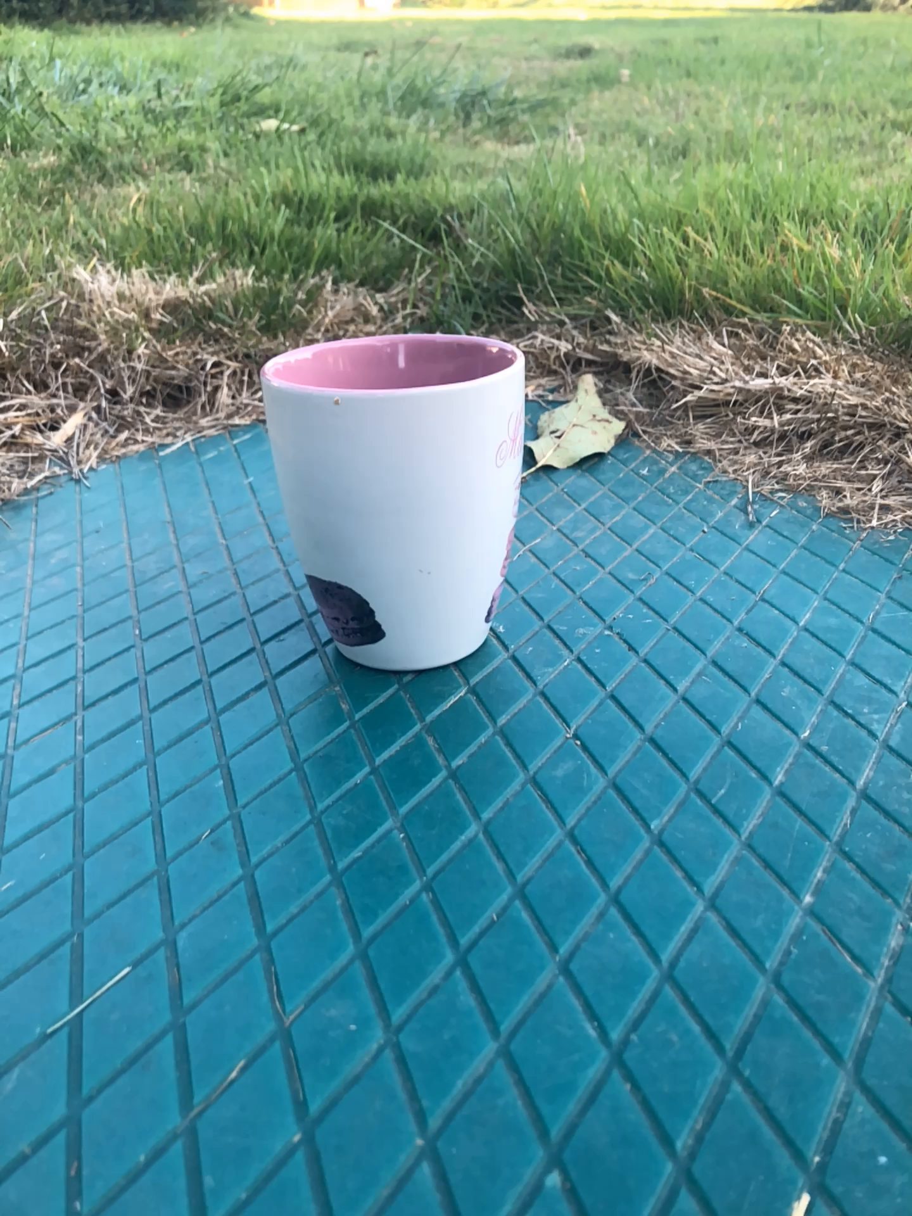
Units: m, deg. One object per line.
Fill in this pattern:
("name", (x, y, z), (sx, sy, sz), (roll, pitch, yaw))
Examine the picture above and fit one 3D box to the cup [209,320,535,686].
("cup", (-0.024, -0.045, 0.370), (0.095, 0.091, 0.121), (-3, 28, 1))
